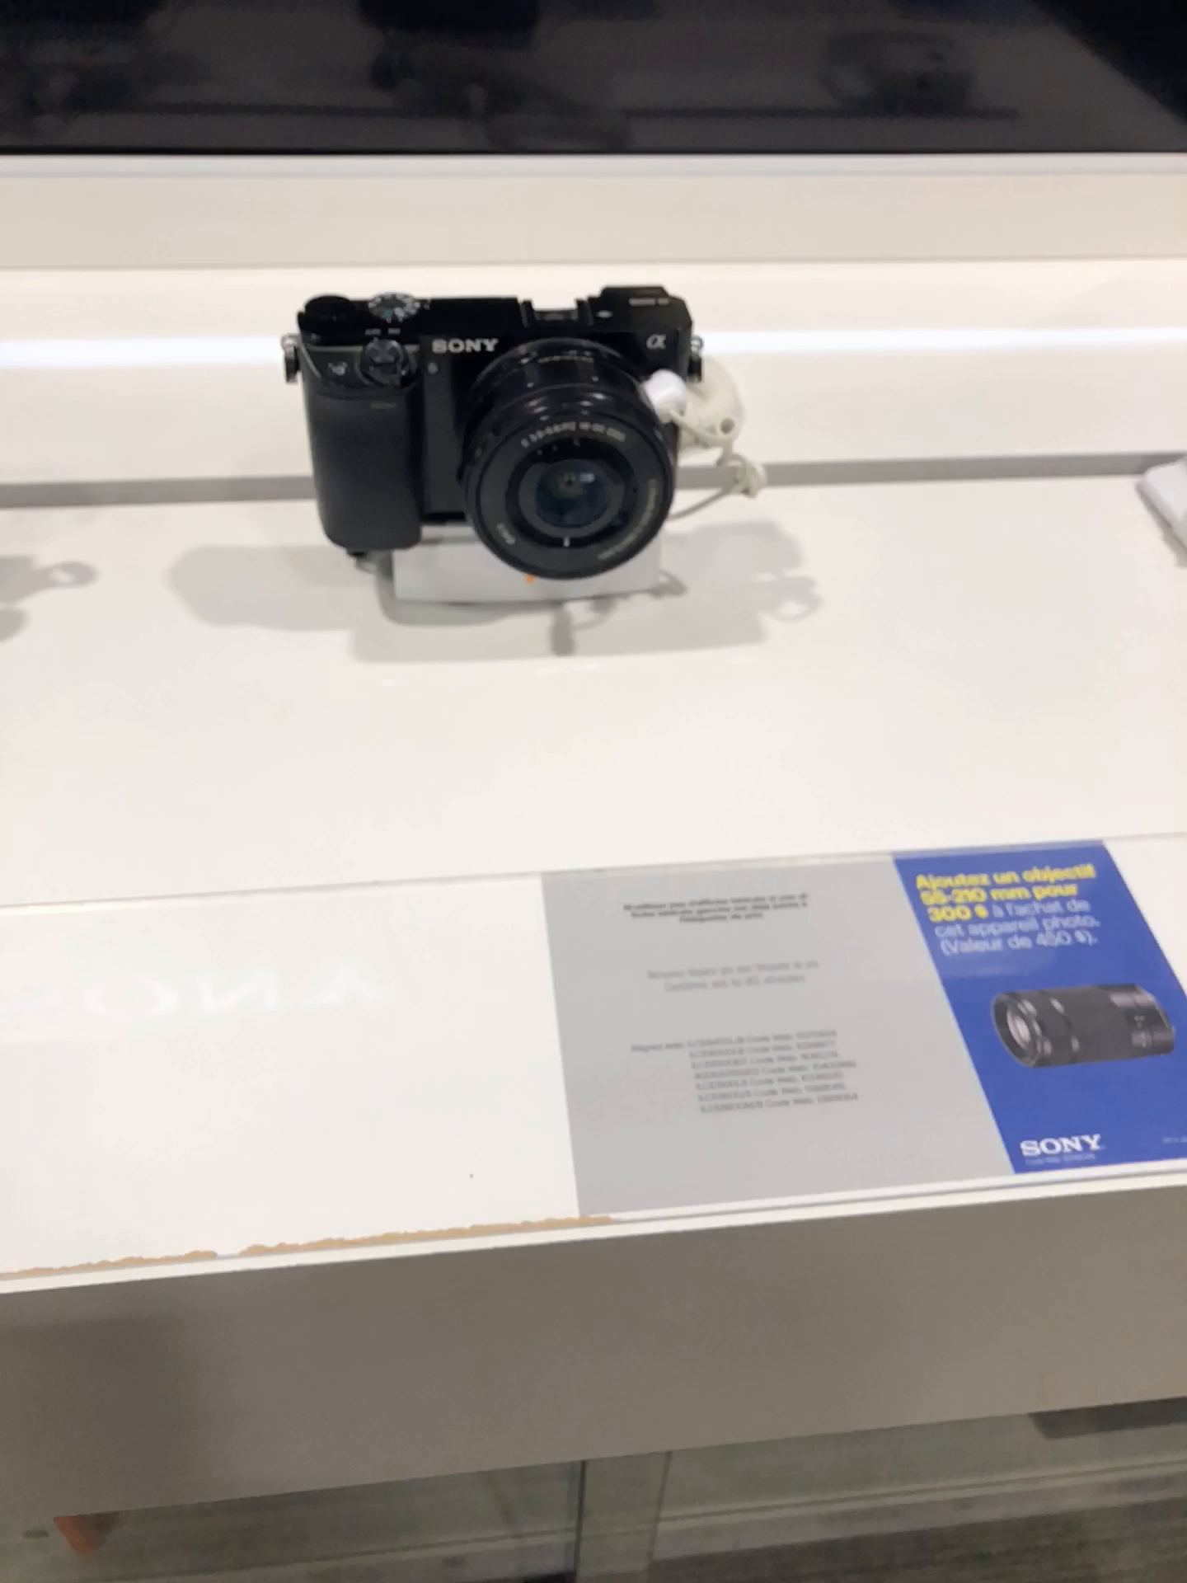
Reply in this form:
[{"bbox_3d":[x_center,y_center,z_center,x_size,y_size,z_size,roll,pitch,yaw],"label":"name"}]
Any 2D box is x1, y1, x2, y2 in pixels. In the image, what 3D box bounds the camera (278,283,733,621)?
[{"bbox_3d":[-0.029,-0.110,0.428,0.130,0.077,0.065,-5,44,-7],"label":"camera"}]
